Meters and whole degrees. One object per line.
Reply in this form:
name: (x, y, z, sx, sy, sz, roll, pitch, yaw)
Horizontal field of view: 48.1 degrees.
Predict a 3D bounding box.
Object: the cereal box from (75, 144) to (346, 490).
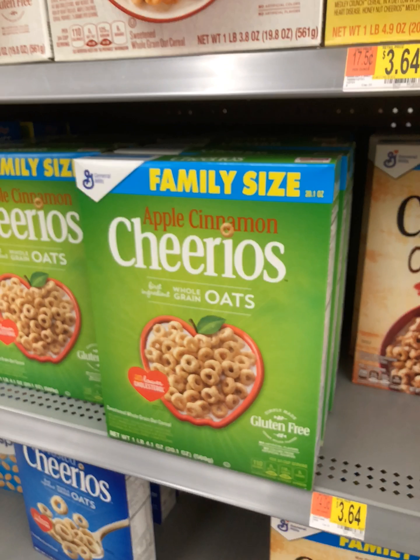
cereal box: (-0.002, 0.031, 0.462, 0.230, 0.309, 0.060, 7, 21, 20)
